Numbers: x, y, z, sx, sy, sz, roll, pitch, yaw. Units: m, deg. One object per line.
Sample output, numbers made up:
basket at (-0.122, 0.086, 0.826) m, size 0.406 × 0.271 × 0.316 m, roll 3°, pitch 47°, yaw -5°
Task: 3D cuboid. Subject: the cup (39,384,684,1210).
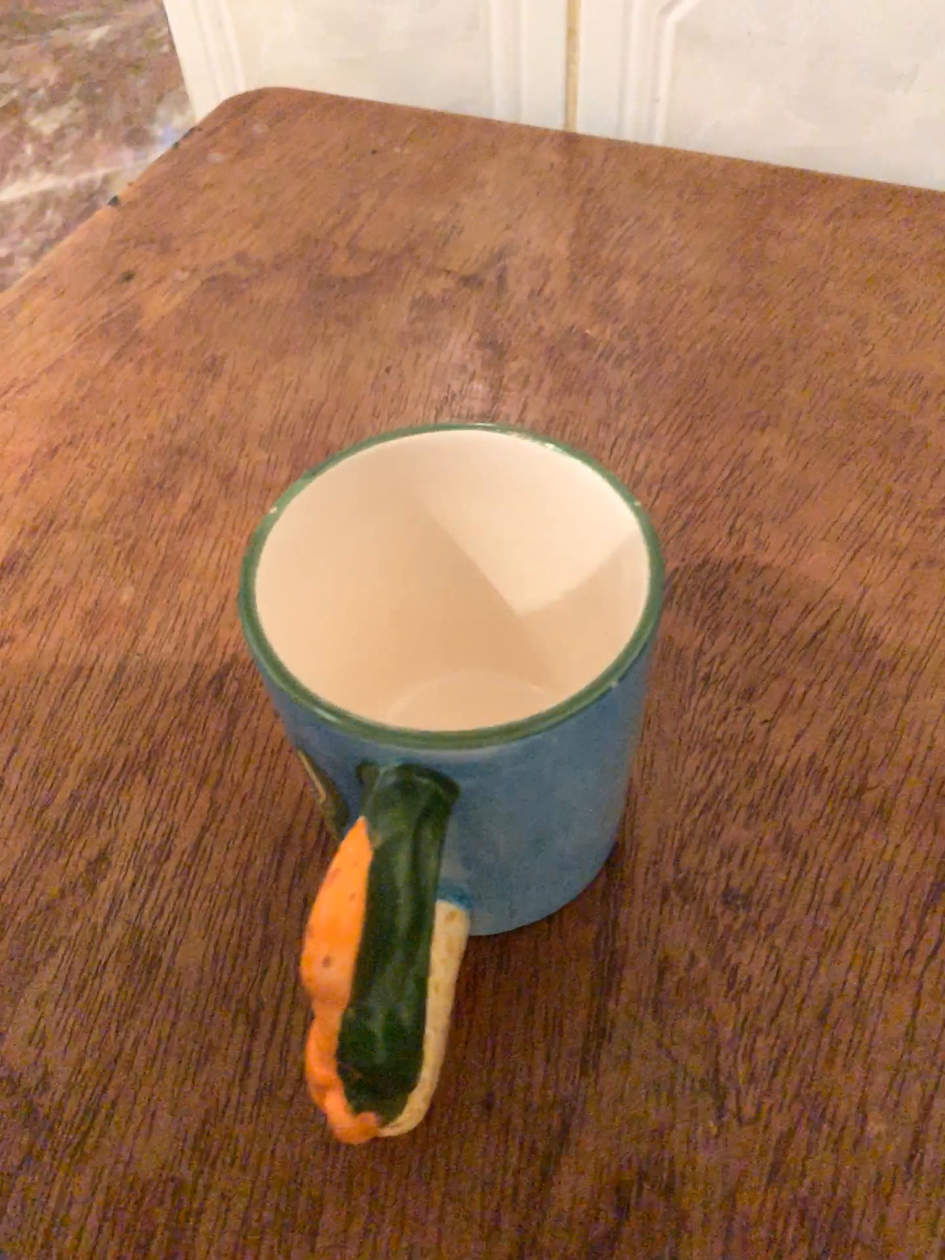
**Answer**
cup at (-0.006, 0.033, 0.206) m, size 0.080 × 0.100 × 0.130 m, roll 7°, pitch 54°, yaw 8°
